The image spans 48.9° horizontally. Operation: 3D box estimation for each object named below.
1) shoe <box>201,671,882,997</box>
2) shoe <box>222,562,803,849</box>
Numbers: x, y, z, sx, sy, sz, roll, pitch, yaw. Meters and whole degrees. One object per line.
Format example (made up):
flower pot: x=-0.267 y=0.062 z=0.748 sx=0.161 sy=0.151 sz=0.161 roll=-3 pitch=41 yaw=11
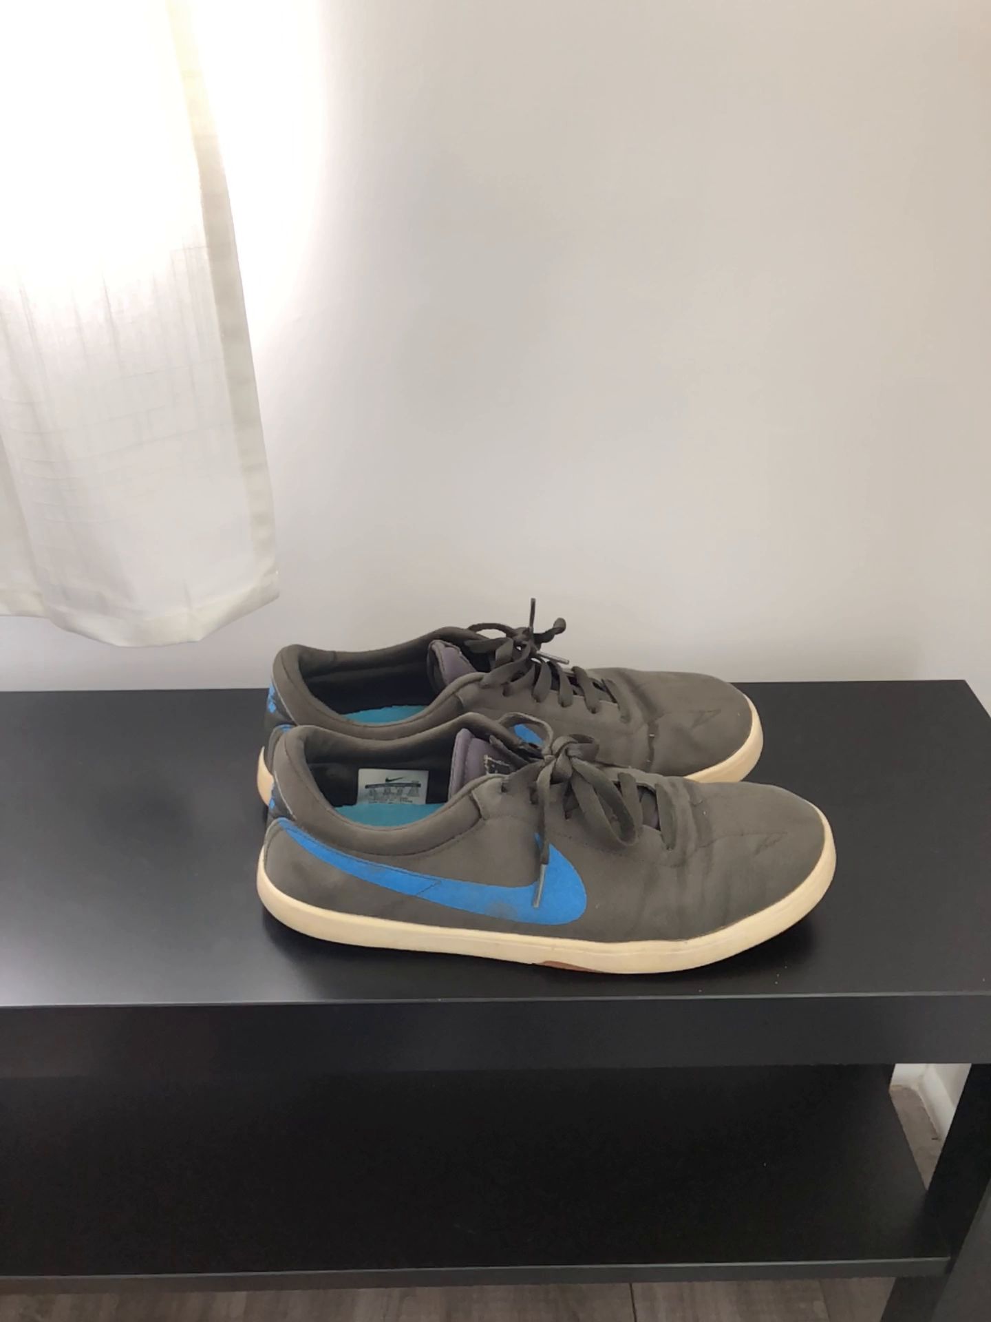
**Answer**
shoe: x=0.019 y=0.080 z=0.520 sx=0.280 sy=0.110 sz=0.100 roll=1 pitch=32 yaw=1
shoe: x=0.007 y=0.022 z=0.595 sx=0.280 sy=0.110 sz=0.100 roll=-2 pitch=32 yaw=-3
